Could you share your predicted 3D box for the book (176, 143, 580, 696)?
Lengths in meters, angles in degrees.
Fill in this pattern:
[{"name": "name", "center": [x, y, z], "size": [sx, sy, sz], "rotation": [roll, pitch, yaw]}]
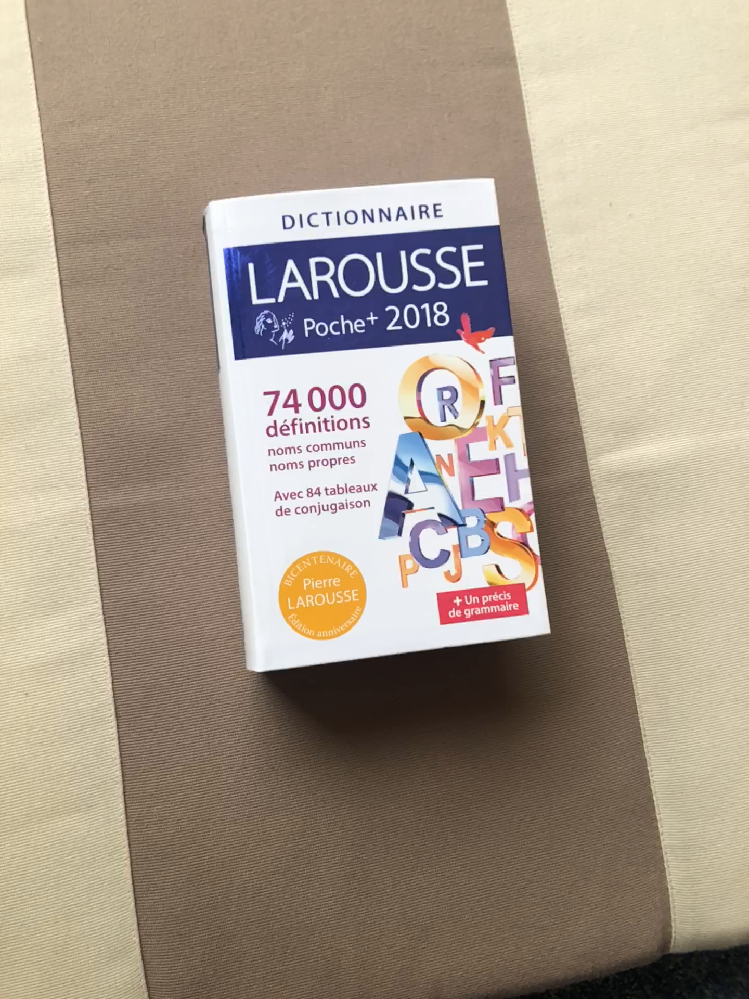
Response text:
[{"name": "book", "center": [-0.003, -0.033, 0.339], "size": [0.130, 0.060, 0.200], "rotation": [-6, 84, -8]}]
